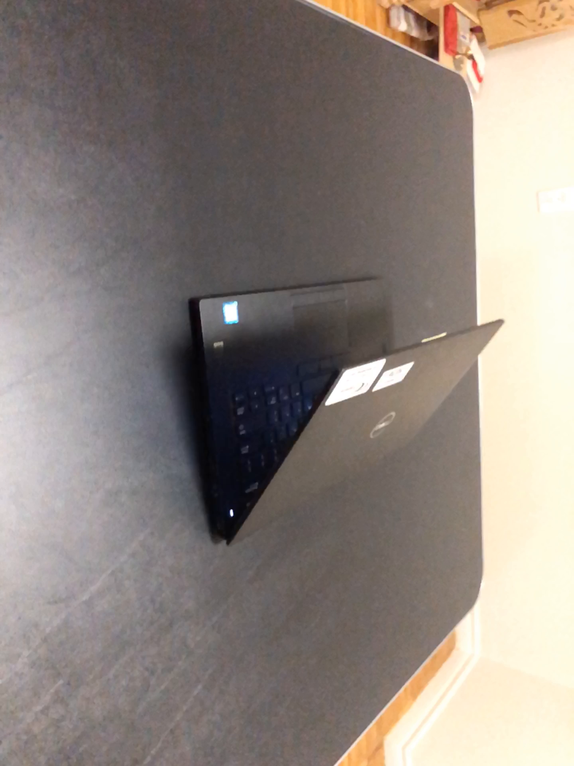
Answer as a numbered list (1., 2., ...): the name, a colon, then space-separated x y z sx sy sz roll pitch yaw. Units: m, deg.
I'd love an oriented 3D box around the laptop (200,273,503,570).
1. laptop: 0.090 0.009 0.643 0.320 0.142 0.220 -16 106 -51
